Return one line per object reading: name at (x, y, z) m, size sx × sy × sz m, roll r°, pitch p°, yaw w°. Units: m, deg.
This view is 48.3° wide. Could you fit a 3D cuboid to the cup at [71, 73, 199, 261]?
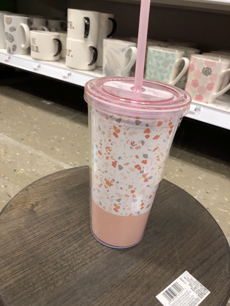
cup at (0.019, 0.010, 0.261) m, size 0.090 × 0.149 × 0.090 m, roll 6°, pitch 28°, yaw -3°
